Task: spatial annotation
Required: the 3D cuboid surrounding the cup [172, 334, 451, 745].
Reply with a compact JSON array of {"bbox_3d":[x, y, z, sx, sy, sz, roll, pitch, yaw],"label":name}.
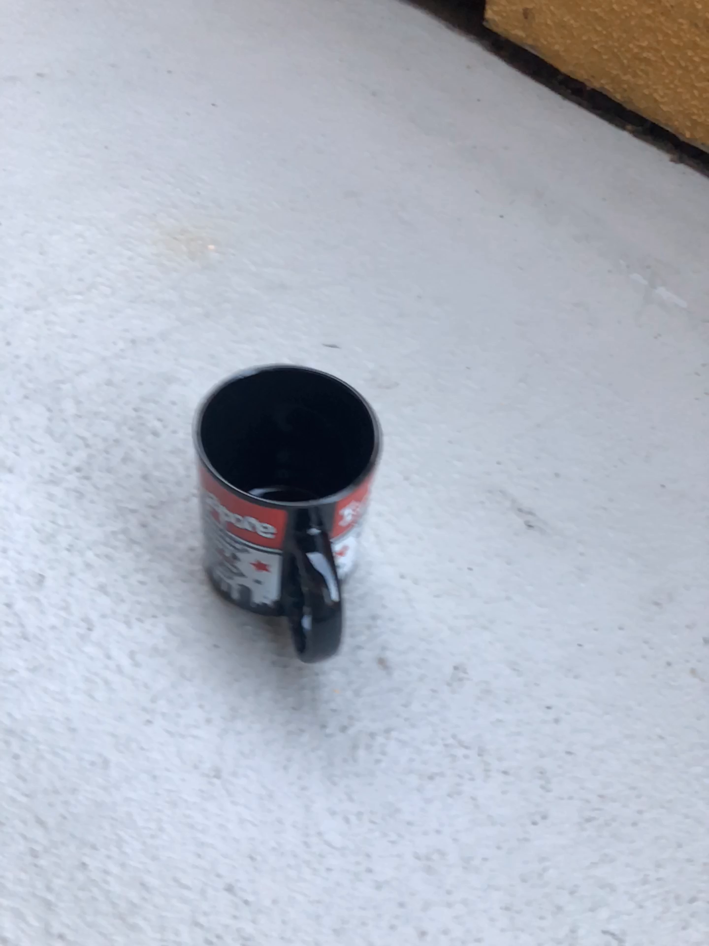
[{"bbox_3d":[-0.027,0.028,0.348,0.080,0.110,0.130,-8,53,-14],"label":"cup"}]
